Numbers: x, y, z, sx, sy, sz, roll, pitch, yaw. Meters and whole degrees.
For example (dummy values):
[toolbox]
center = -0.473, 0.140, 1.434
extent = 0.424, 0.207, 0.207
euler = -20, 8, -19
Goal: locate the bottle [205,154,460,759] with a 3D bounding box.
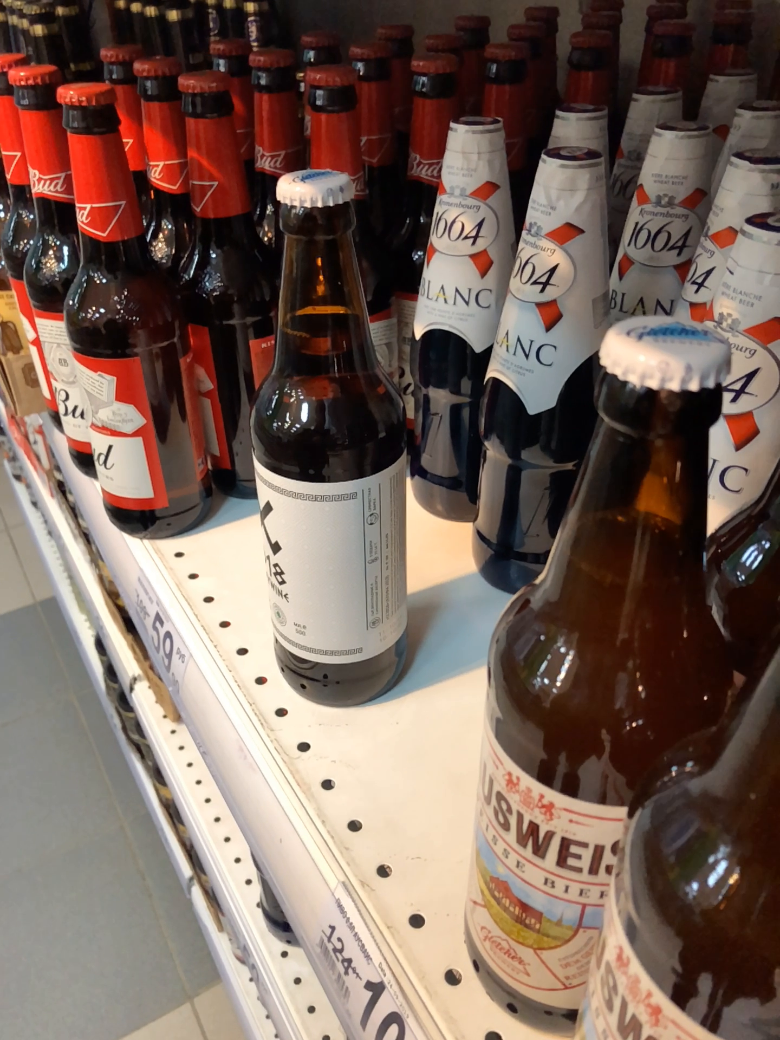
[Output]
[bottle]
center = -0.019, -0.018, 0.384
extent = 0.070, 0.251, 0.080
euler = -15, 36, -17
